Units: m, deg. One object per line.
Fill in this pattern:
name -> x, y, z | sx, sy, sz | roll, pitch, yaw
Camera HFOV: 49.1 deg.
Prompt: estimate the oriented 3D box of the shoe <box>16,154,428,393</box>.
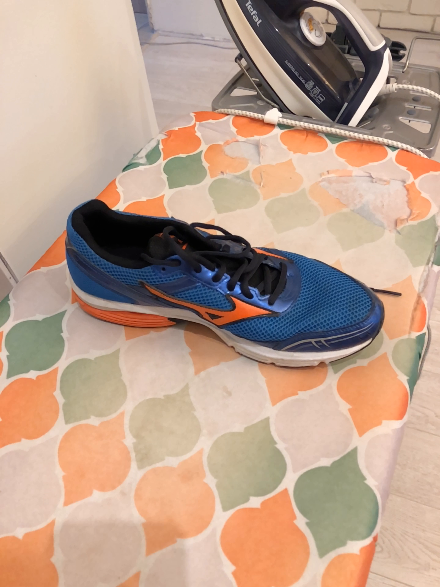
shoe -> 0.005, -0.023, 0.430 | 0.310, 0.109, 0.121 | 11, 57, 12
